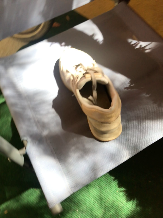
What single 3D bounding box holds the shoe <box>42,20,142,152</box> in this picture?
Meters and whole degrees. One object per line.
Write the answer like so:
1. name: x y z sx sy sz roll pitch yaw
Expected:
1. shoe: 0.016 -0.054 0.447 0.124 0.104 0.287 -20 76 -5
